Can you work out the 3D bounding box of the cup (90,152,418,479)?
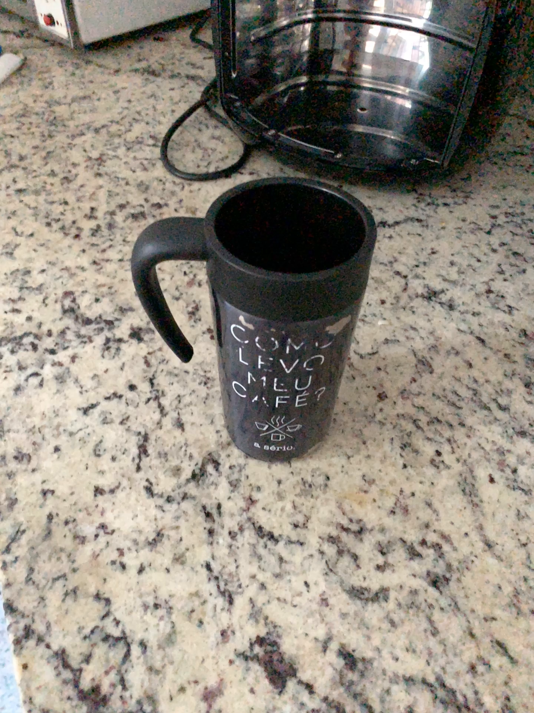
[{"bbox_3d":[-0.004,-0.014,0.279,0.120,0.139,0.080,5,49,2],"label":"cup"}]
